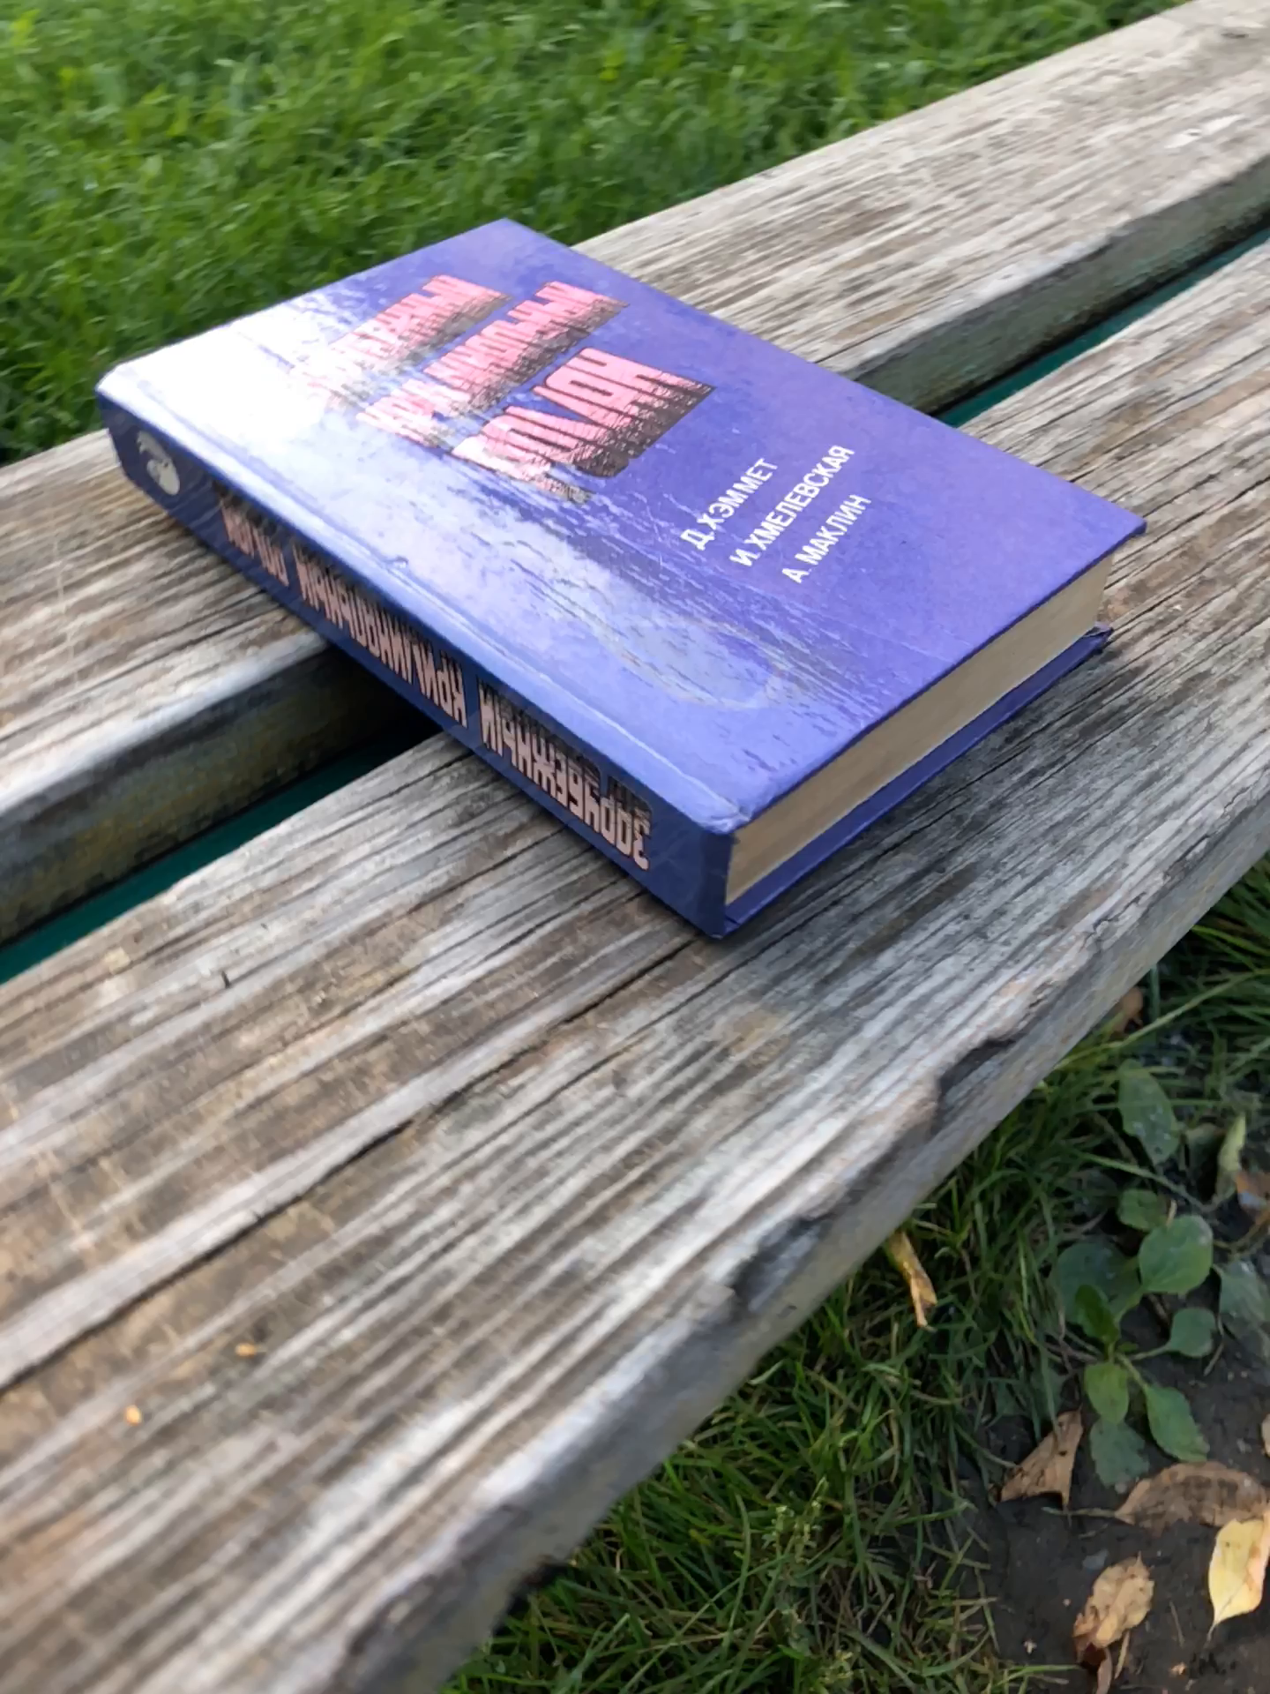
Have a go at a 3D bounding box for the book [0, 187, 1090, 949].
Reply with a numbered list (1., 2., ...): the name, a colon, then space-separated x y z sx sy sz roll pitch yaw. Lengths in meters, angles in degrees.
1. book: -0.029 -0.080 0.306 0.131 0.030 0.205 -35 56 -29
